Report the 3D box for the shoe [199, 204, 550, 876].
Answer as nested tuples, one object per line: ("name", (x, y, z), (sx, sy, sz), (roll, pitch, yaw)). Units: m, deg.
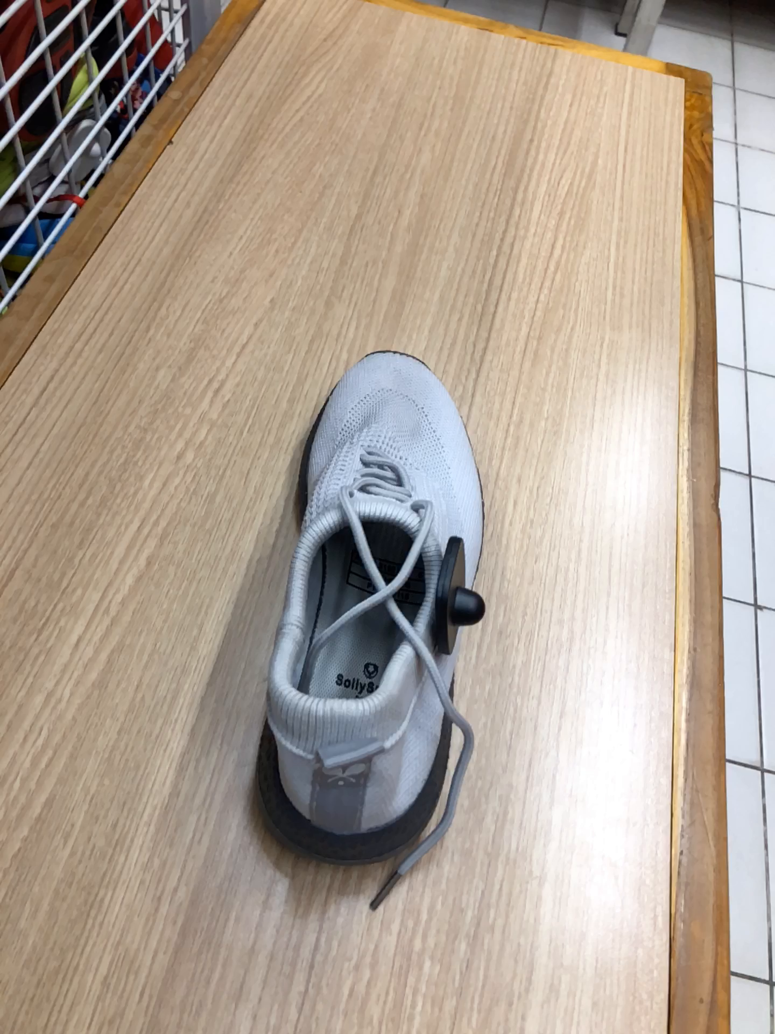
("shoe", (0.003, 0.000, 0.383), (0.106, 0.122, 0.266), (9, 54, -2))
